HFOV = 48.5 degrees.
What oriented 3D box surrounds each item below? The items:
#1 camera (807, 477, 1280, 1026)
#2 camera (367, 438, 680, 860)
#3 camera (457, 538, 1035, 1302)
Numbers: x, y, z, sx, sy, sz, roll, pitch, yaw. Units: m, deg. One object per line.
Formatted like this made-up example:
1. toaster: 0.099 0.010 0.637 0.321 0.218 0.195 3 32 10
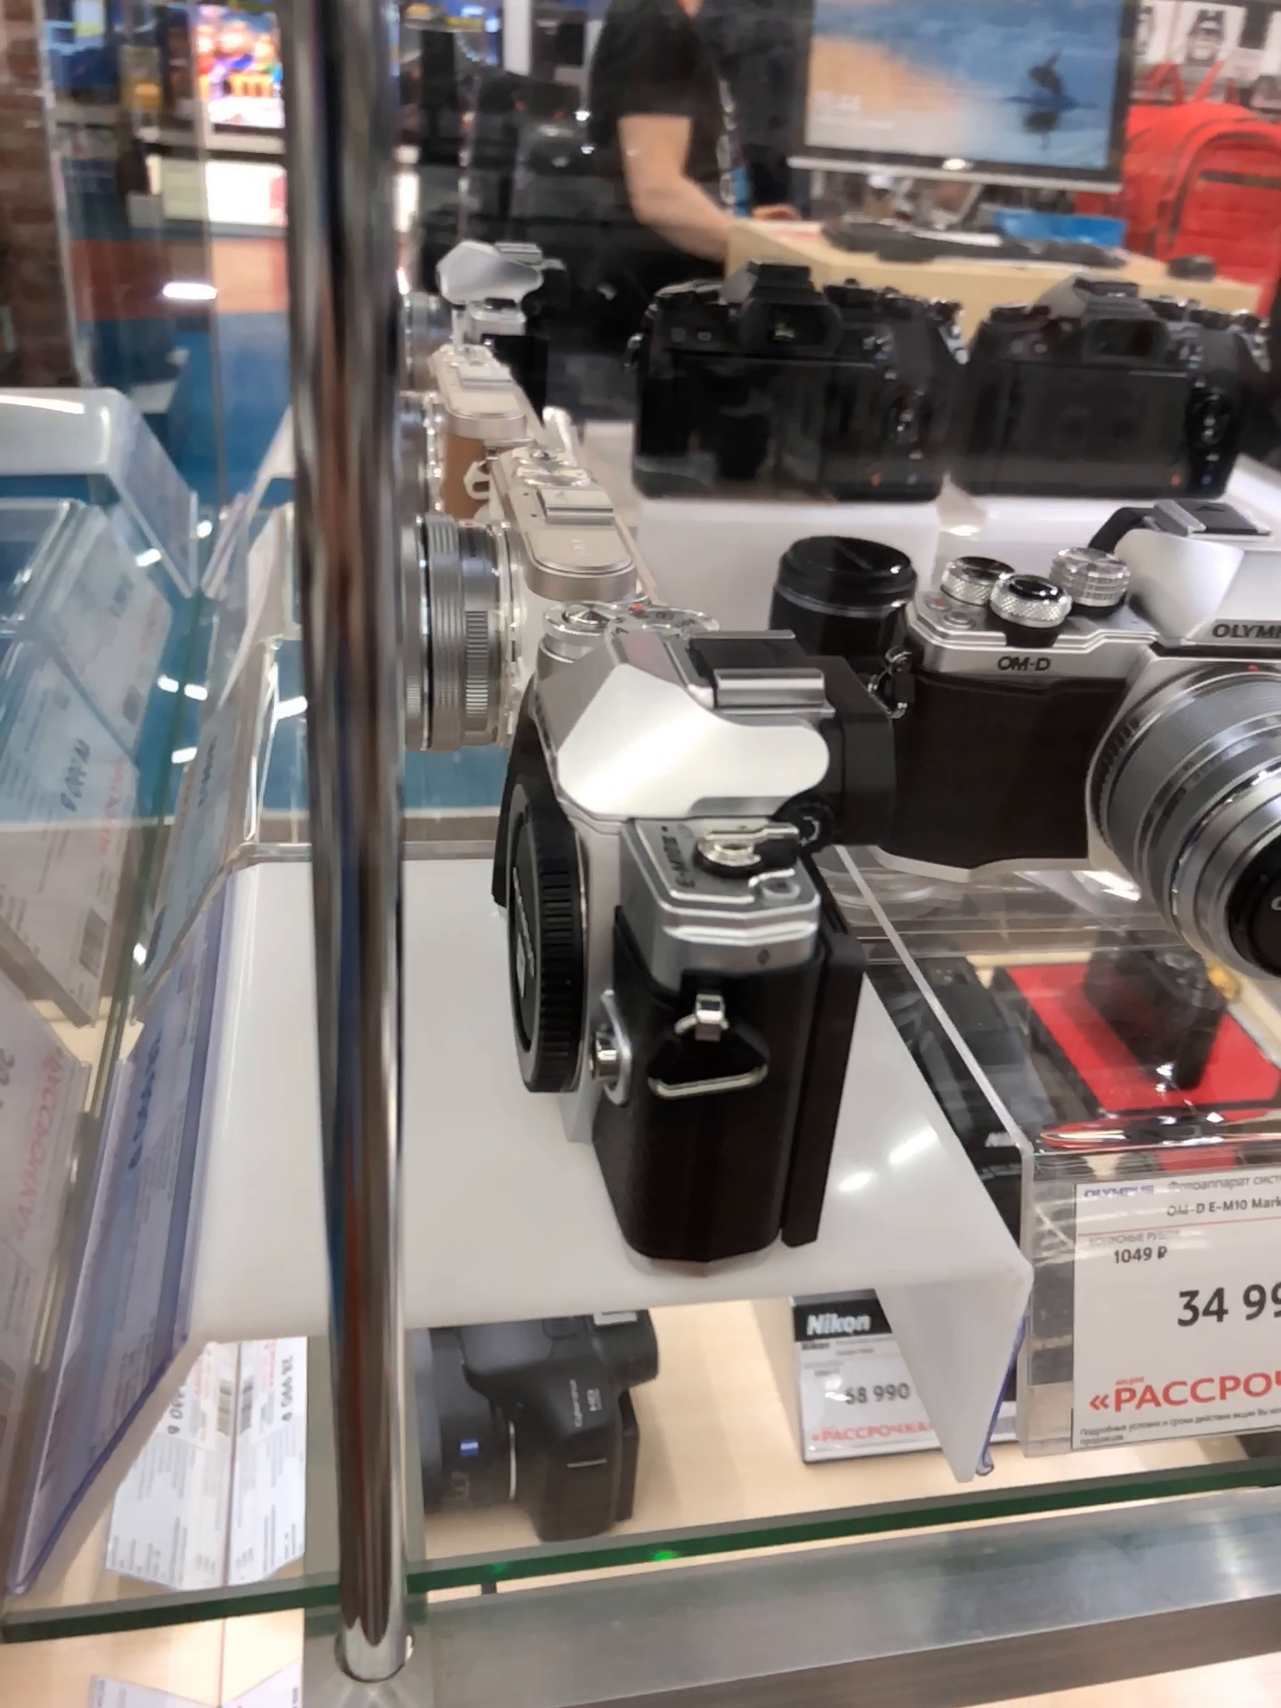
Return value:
1. camera: 0.125 -0.031 0.327 0.136 0.084 0.102 -3 30 -14
2. camera: -0.037 -0.060 0.378 0.068 0.068 0.125 -1 30 -11
3. camera: 0.005 0.001 0.248 0.064 0.077 0.122 -2 30 -12
